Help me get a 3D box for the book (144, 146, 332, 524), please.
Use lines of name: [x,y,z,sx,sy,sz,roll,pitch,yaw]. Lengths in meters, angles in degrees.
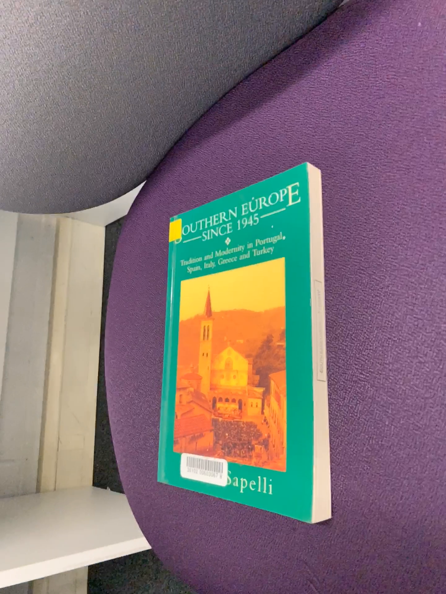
book: [0.002,0.024,0.326,0.154,0.020,0.221,-10,74,45]
